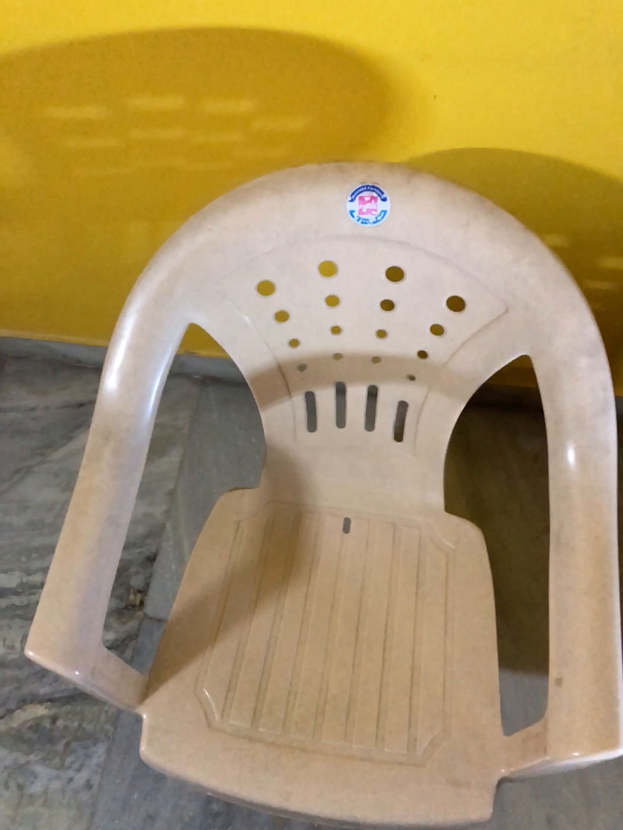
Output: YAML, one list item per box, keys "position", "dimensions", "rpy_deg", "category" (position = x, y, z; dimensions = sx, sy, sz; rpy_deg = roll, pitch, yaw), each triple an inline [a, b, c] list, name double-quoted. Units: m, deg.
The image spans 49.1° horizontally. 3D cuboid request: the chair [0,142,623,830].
- position: [0.032, 0.194, 0.832]
  dimensions: [0.530, 0.788, 0.562]
  rpy_deg: [6, 66, 8]
  category: "chair"
